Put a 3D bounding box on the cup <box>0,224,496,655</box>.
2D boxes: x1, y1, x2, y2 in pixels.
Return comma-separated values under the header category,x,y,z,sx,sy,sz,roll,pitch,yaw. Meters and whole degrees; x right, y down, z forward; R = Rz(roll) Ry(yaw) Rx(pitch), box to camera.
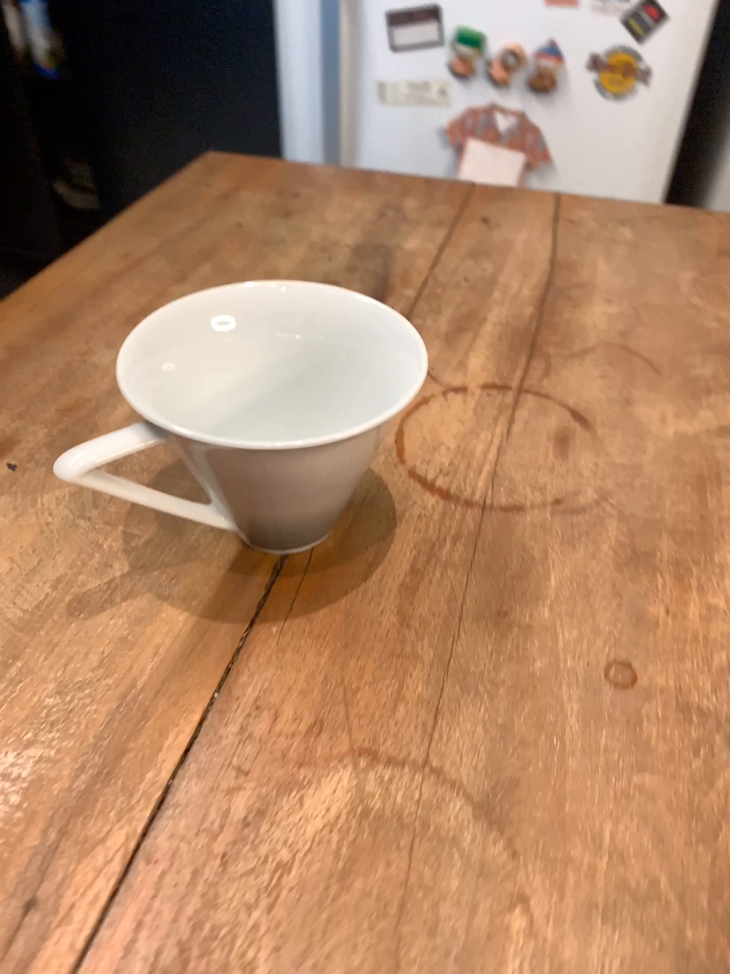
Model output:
category,x,y,z,sx,sy,sz,roll,pitch,yaw
cup,-0.038,-0.024,0.237,0.120,0.060,0.090,-24,48,-25
